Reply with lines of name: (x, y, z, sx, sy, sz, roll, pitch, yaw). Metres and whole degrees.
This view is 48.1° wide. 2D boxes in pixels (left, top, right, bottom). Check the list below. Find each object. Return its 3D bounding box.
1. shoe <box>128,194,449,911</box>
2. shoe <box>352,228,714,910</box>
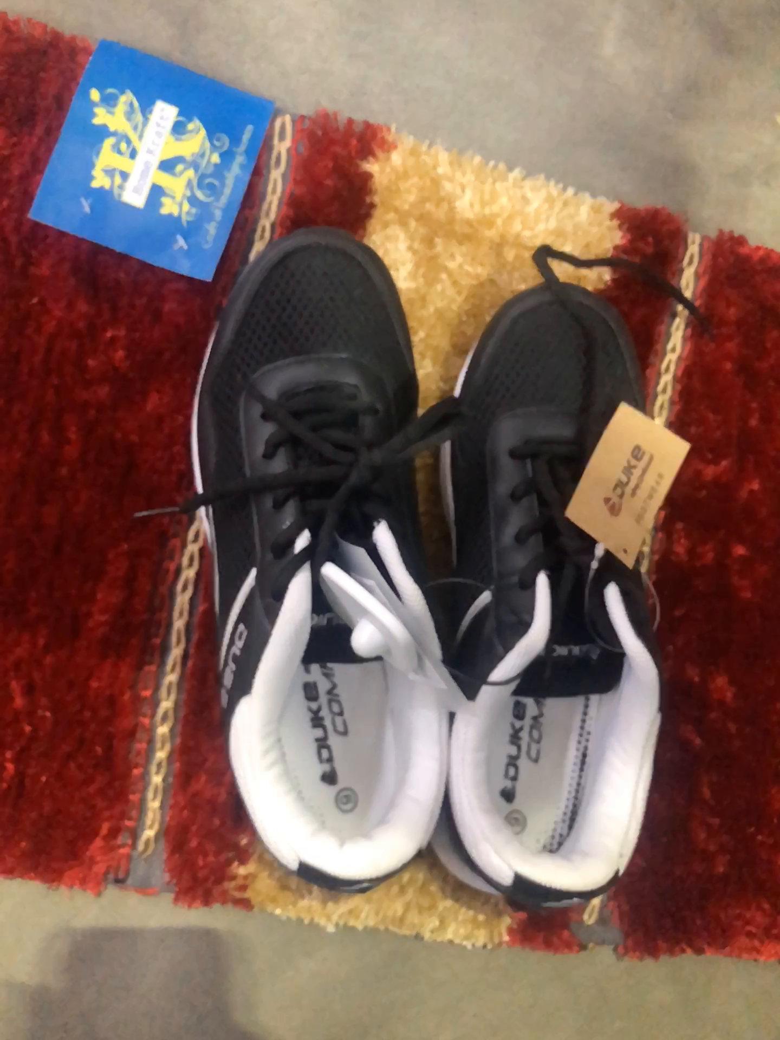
shoe: (-0.042, 0.008, 0.337, 0.100, 0.070, 0.240, -2, 86, -12)
shoe: (0.058, 0.020, 0.369, 0.110, 0.070, 0.250, 8, 84, -11)
